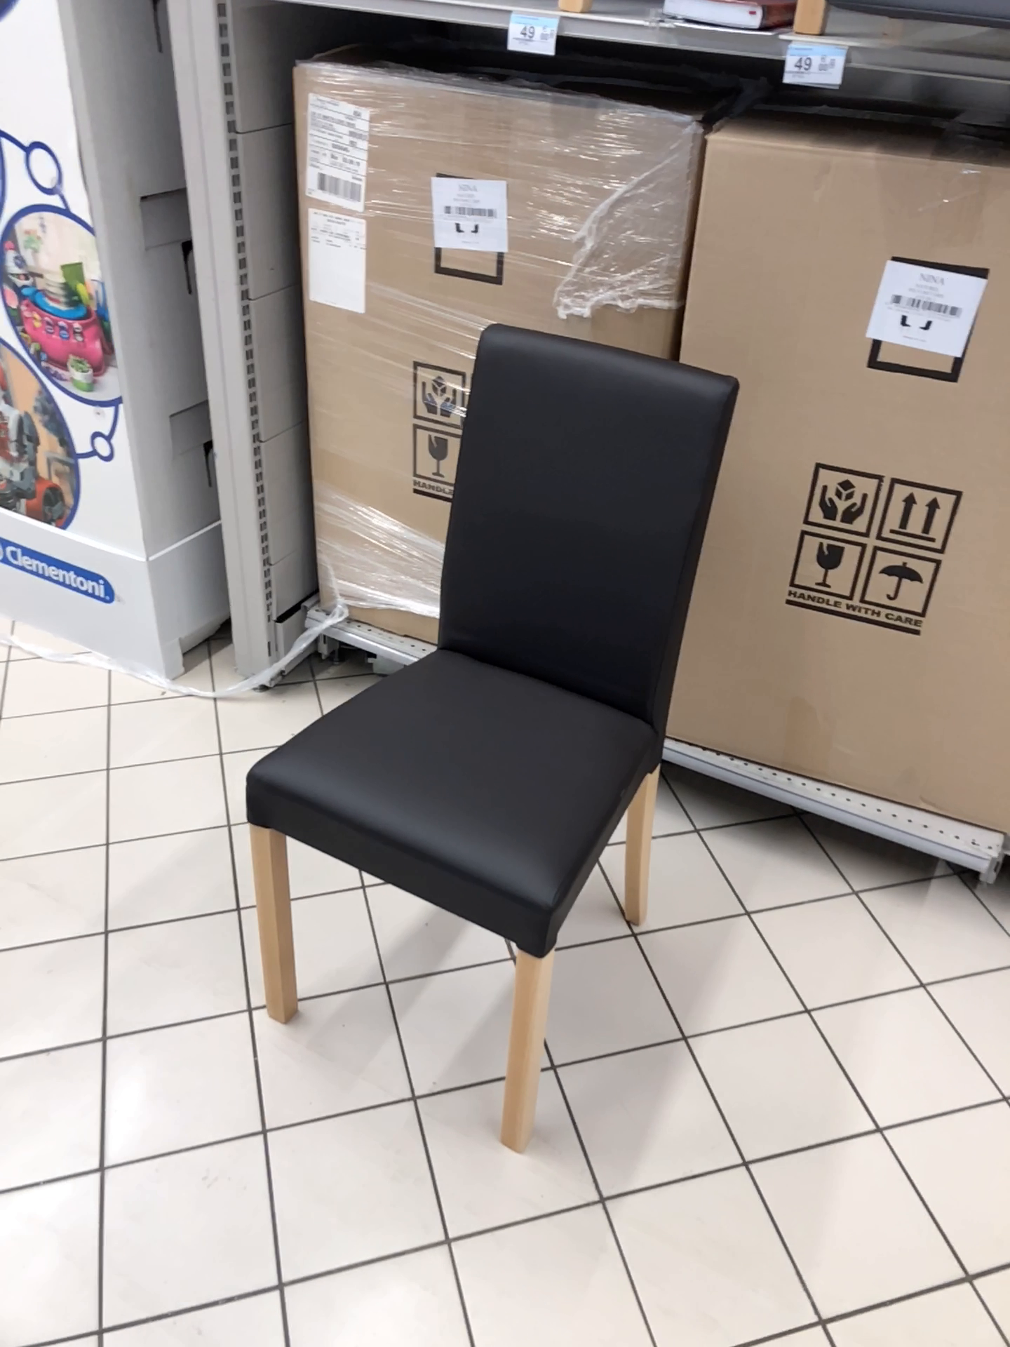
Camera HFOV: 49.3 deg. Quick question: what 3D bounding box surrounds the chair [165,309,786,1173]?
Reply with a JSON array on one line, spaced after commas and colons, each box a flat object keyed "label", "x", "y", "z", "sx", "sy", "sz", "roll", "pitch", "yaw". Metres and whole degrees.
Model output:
[{"label": "chair", "x": -0.015, "y": 0.065, "z": 1.445, "sx": 0.450, "sy": 0.855, "sz": 0.594, "roll": 19, "pitch": 37, "yaw": 21}]
